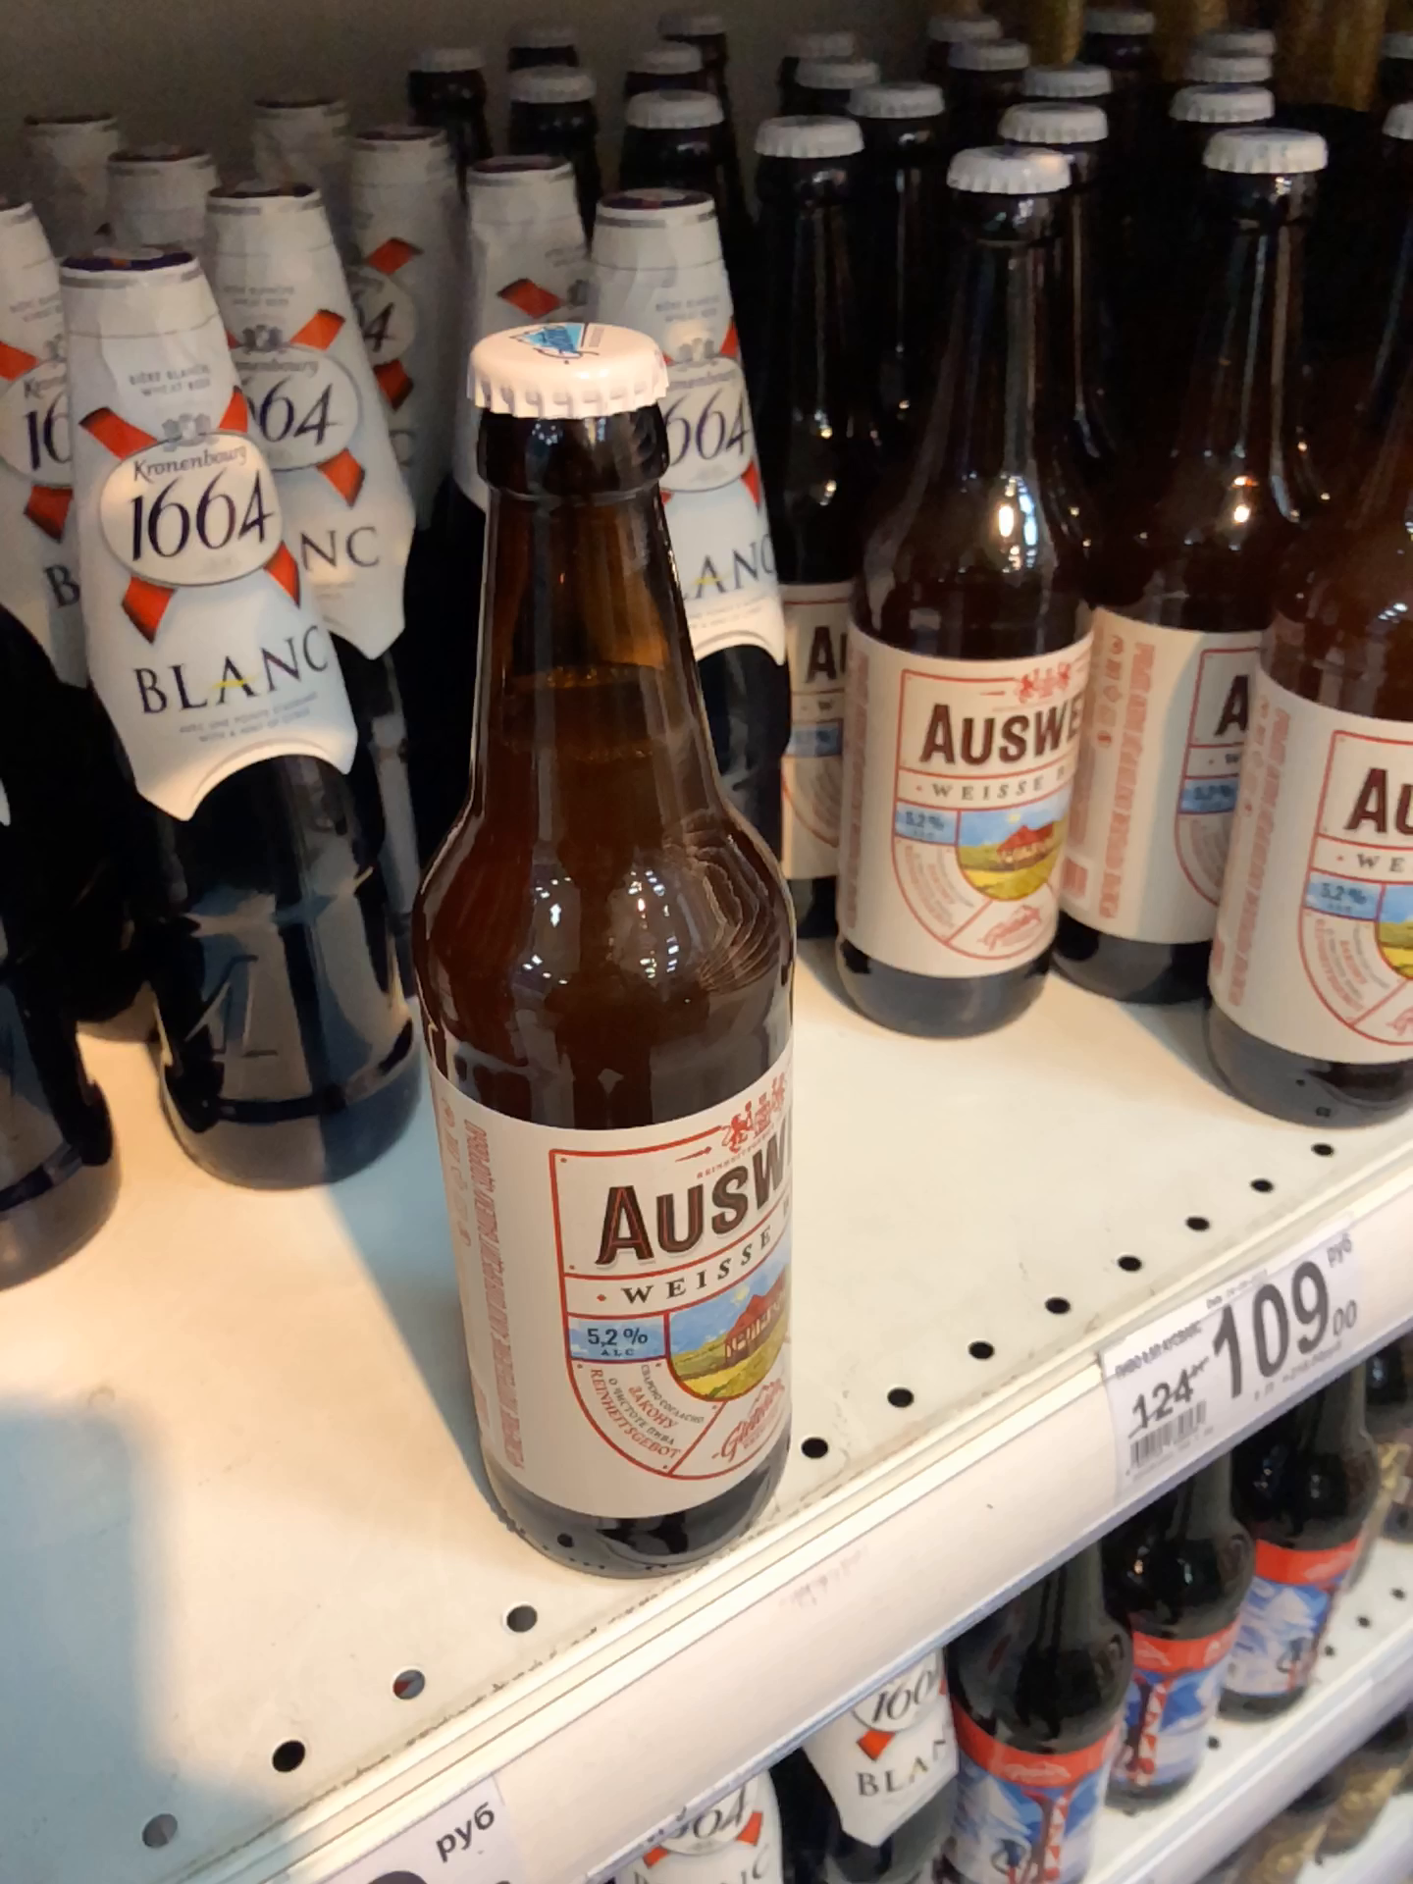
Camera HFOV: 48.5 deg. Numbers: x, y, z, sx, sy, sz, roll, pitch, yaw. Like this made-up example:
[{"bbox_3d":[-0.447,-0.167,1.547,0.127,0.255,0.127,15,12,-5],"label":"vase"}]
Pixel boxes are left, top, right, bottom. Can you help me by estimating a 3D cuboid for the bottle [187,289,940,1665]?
[{"bbox_3d":[-0.015,0.016,0.281,0.070,0.229,0.080,18,39,25],"label":"bottle"}]
